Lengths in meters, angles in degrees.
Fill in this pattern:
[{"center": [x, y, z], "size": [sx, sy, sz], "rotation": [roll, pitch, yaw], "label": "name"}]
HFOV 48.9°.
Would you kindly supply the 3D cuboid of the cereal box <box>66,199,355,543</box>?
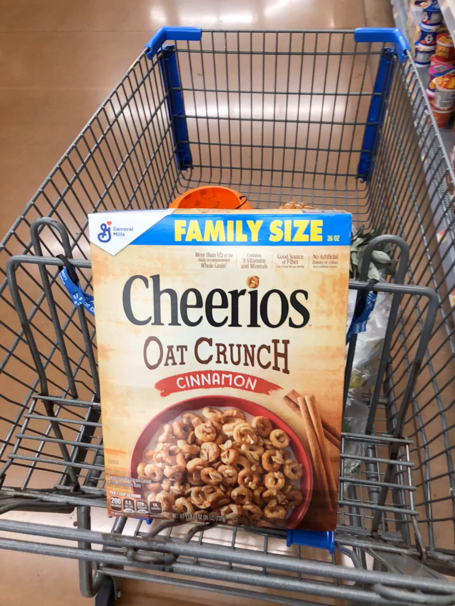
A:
[{"center": [-0.015, 0.065, 0.508], "size": [0.250, 0.330, 0.080], "rotation": [1, 14, 5], "label": "cereal box"}]
